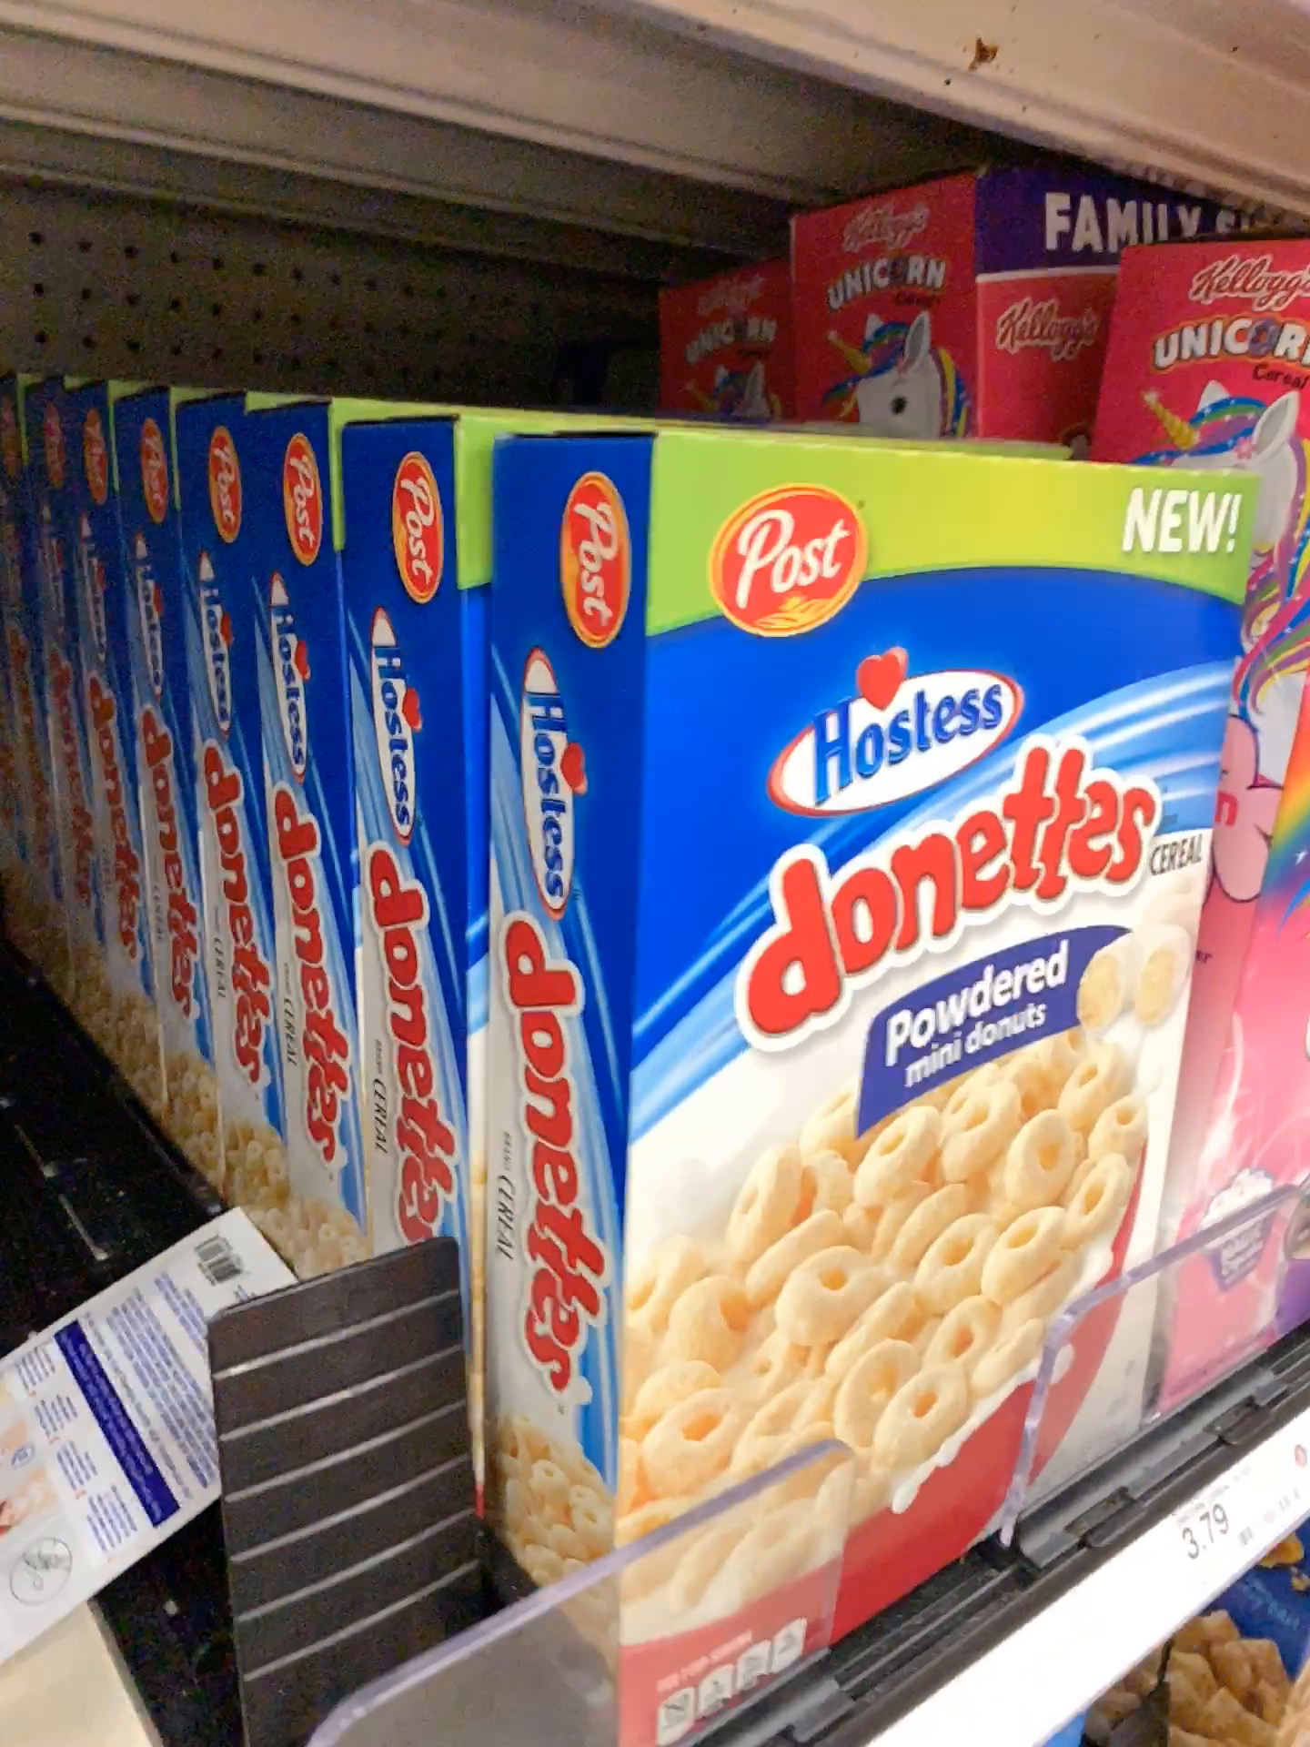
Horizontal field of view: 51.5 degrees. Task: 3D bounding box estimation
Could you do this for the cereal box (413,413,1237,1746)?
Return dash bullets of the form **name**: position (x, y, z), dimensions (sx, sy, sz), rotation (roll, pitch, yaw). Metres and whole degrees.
- **cereal box**: position (0.042, 0.038, 0.326), dimensions (0.190, 0.269, 0.060), rotation (-10, 19, -38)
